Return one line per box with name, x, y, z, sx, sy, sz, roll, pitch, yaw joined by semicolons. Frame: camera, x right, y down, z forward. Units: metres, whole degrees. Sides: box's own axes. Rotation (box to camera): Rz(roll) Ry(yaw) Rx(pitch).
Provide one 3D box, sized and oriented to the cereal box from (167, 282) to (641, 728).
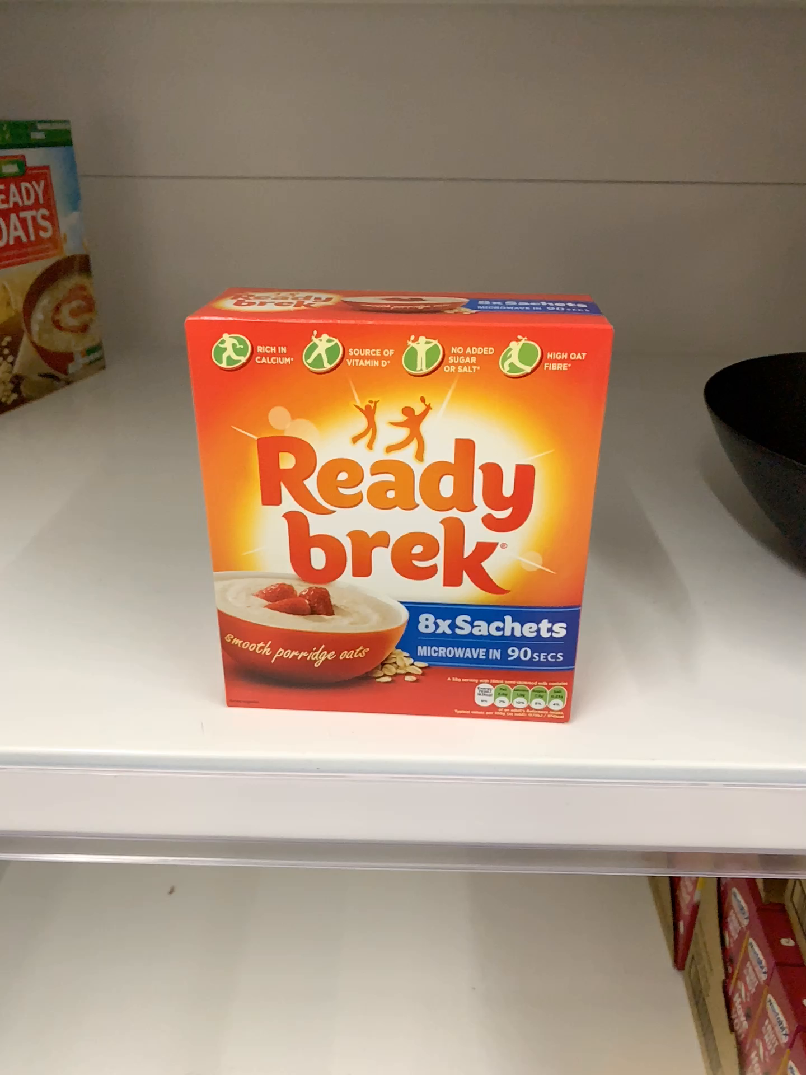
cereal box;0.000;-0.014;0.389;0.180;0.188;0.071;2;26;3
